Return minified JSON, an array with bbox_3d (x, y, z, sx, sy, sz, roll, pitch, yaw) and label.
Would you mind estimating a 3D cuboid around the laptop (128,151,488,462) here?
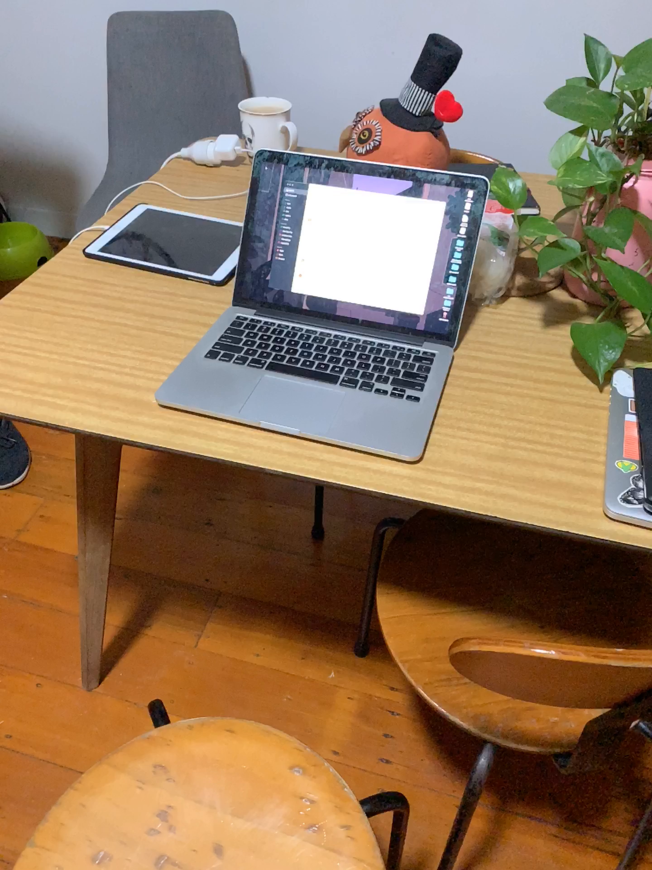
[{"bbox_3d":[0.003,-0.150,0.669,0.263,0.144,0.288,13,42,14],"label":"laptop"}]
